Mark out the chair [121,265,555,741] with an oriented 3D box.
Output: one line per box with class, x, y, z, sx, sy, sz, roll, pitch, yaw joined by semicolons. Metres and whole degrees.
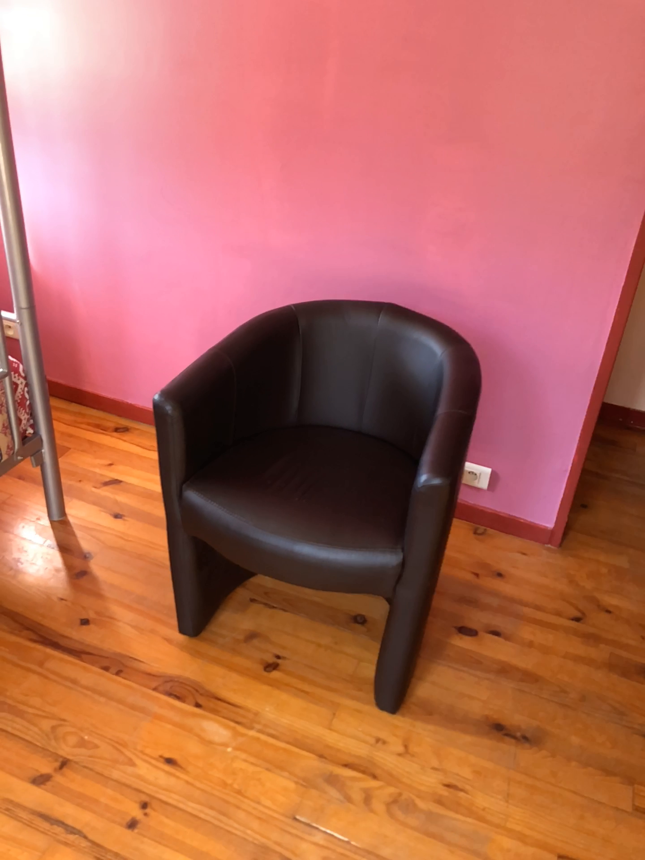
chair;0.054;0.102;1.517;0.670;0.646;0.594;15;33;17
